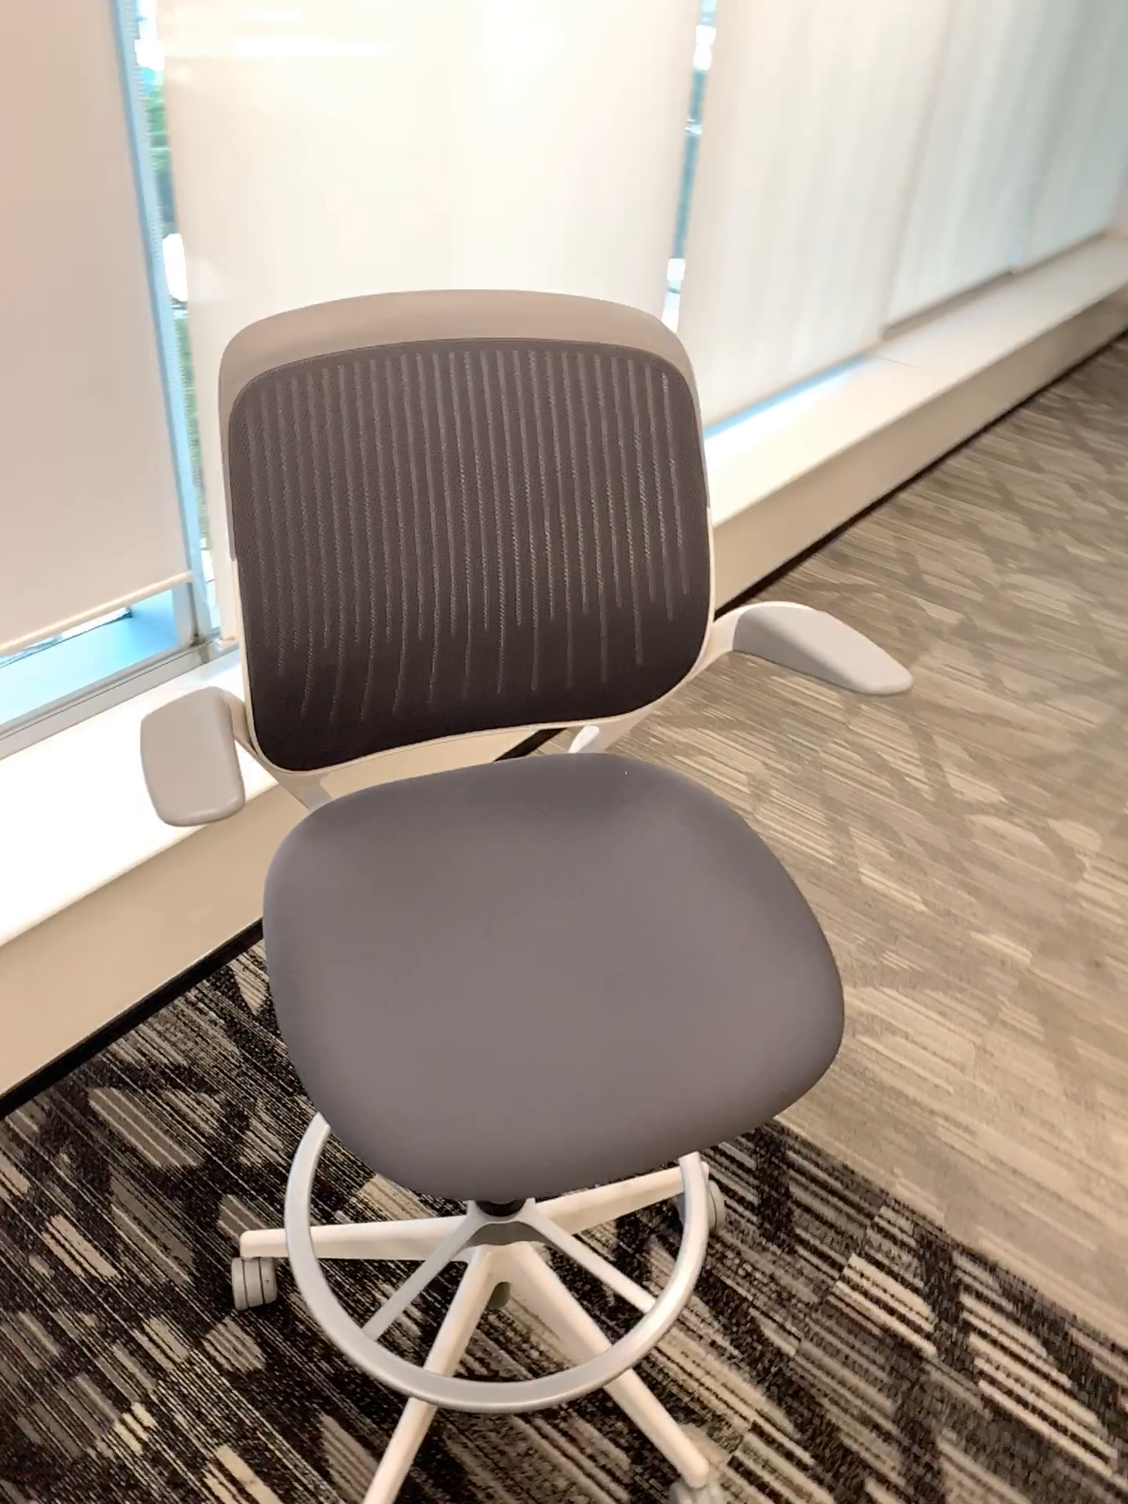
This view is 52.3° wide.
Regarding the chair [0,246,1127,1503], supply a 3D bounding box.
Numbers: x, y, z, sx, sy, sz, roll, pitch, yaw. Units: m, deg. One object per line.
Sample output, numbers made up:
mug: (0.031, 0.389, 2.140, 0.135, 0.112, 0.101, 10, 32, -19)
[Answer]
chair: (-0.084, 0.219, 1.086, 0.691, 1.140, 0.695, -8, 38, -17)
